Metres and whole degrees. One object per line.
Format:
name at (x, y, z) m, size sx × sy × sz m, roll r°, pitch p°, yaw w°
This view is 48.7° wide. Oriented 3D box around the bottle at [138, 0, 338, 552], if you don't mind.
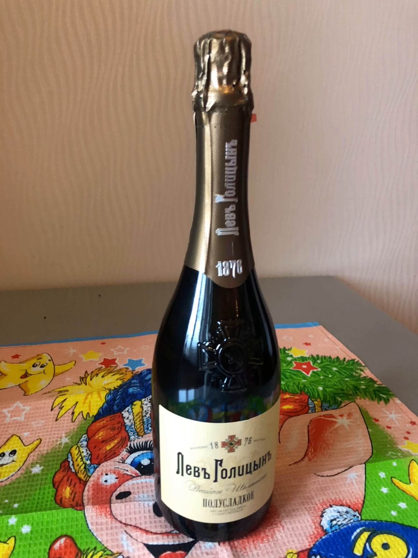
bottle at (0.007, 0.010, 0.297) m, size 0.090 × 0.309 × 0.093 m, roll 1°, pitch 18°, yaw 0°
